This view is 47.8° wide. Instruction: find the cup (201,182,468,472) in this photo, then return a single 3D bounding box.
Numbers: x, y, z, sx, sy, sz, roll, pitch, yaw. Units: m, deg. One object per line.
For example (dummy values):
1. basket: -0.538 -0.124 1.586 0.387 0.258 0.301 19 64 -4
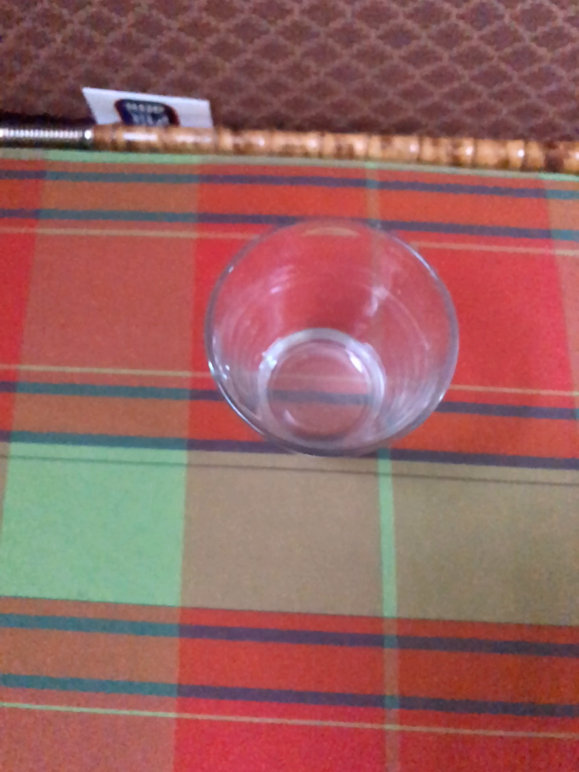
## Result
1. cup: 0.016 -0.016 0.249 0.080 0.090 0.080 0 75 0
